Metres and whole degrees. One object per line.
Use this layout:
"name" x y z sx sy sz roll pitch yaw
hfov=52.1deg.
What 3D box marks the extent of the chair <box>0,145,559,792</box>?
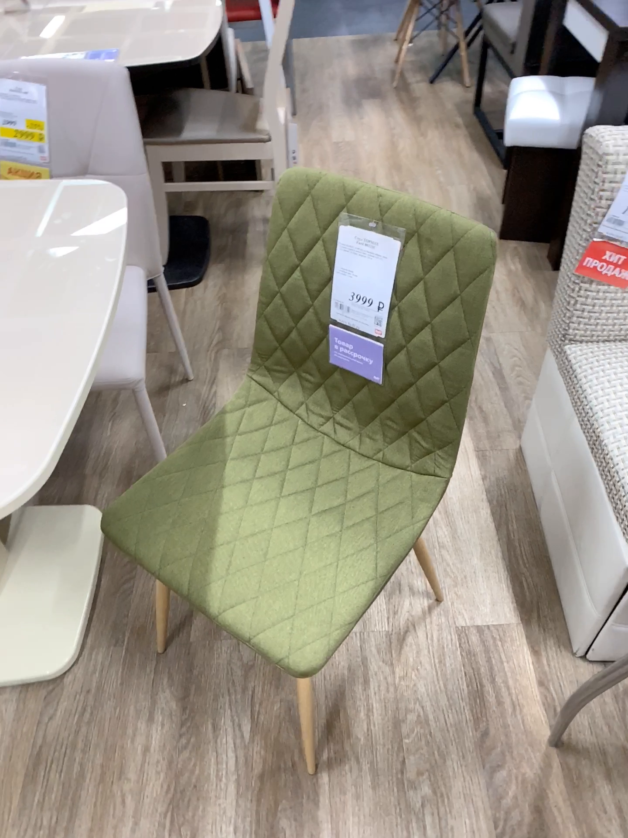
"chair" -0.028 0.107 1.102 0.501 0.836 0.562 27 54 26
